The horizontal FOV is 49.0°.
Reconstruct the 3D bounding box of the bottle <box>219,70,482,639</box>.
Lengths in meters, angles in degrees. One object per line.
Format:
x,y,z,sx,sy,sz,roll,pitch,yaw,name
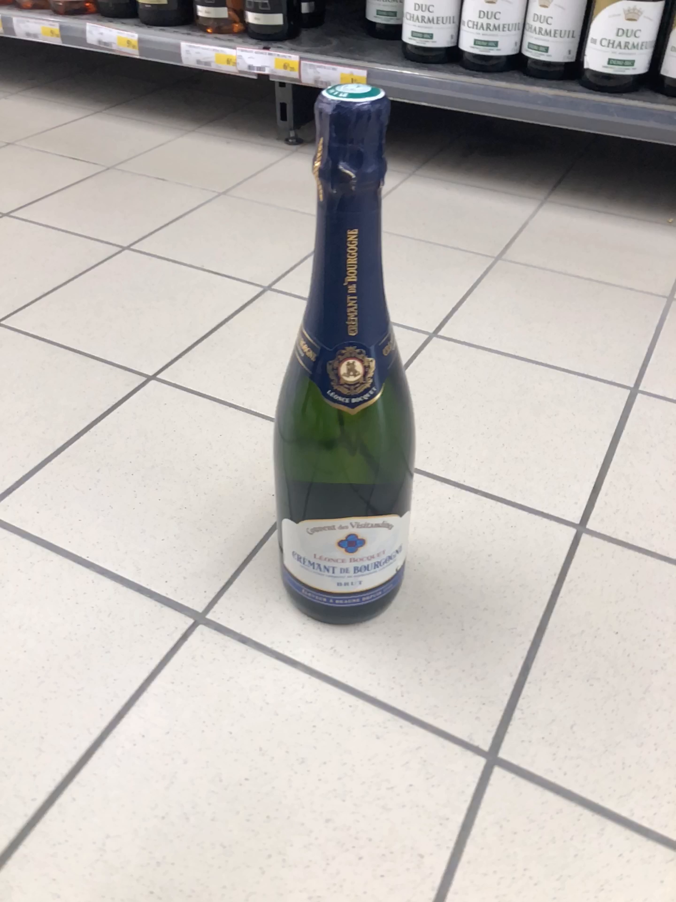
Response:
0.003,-0.032,0.418,0.100,0.308,0.101,1,39,0,bottle
